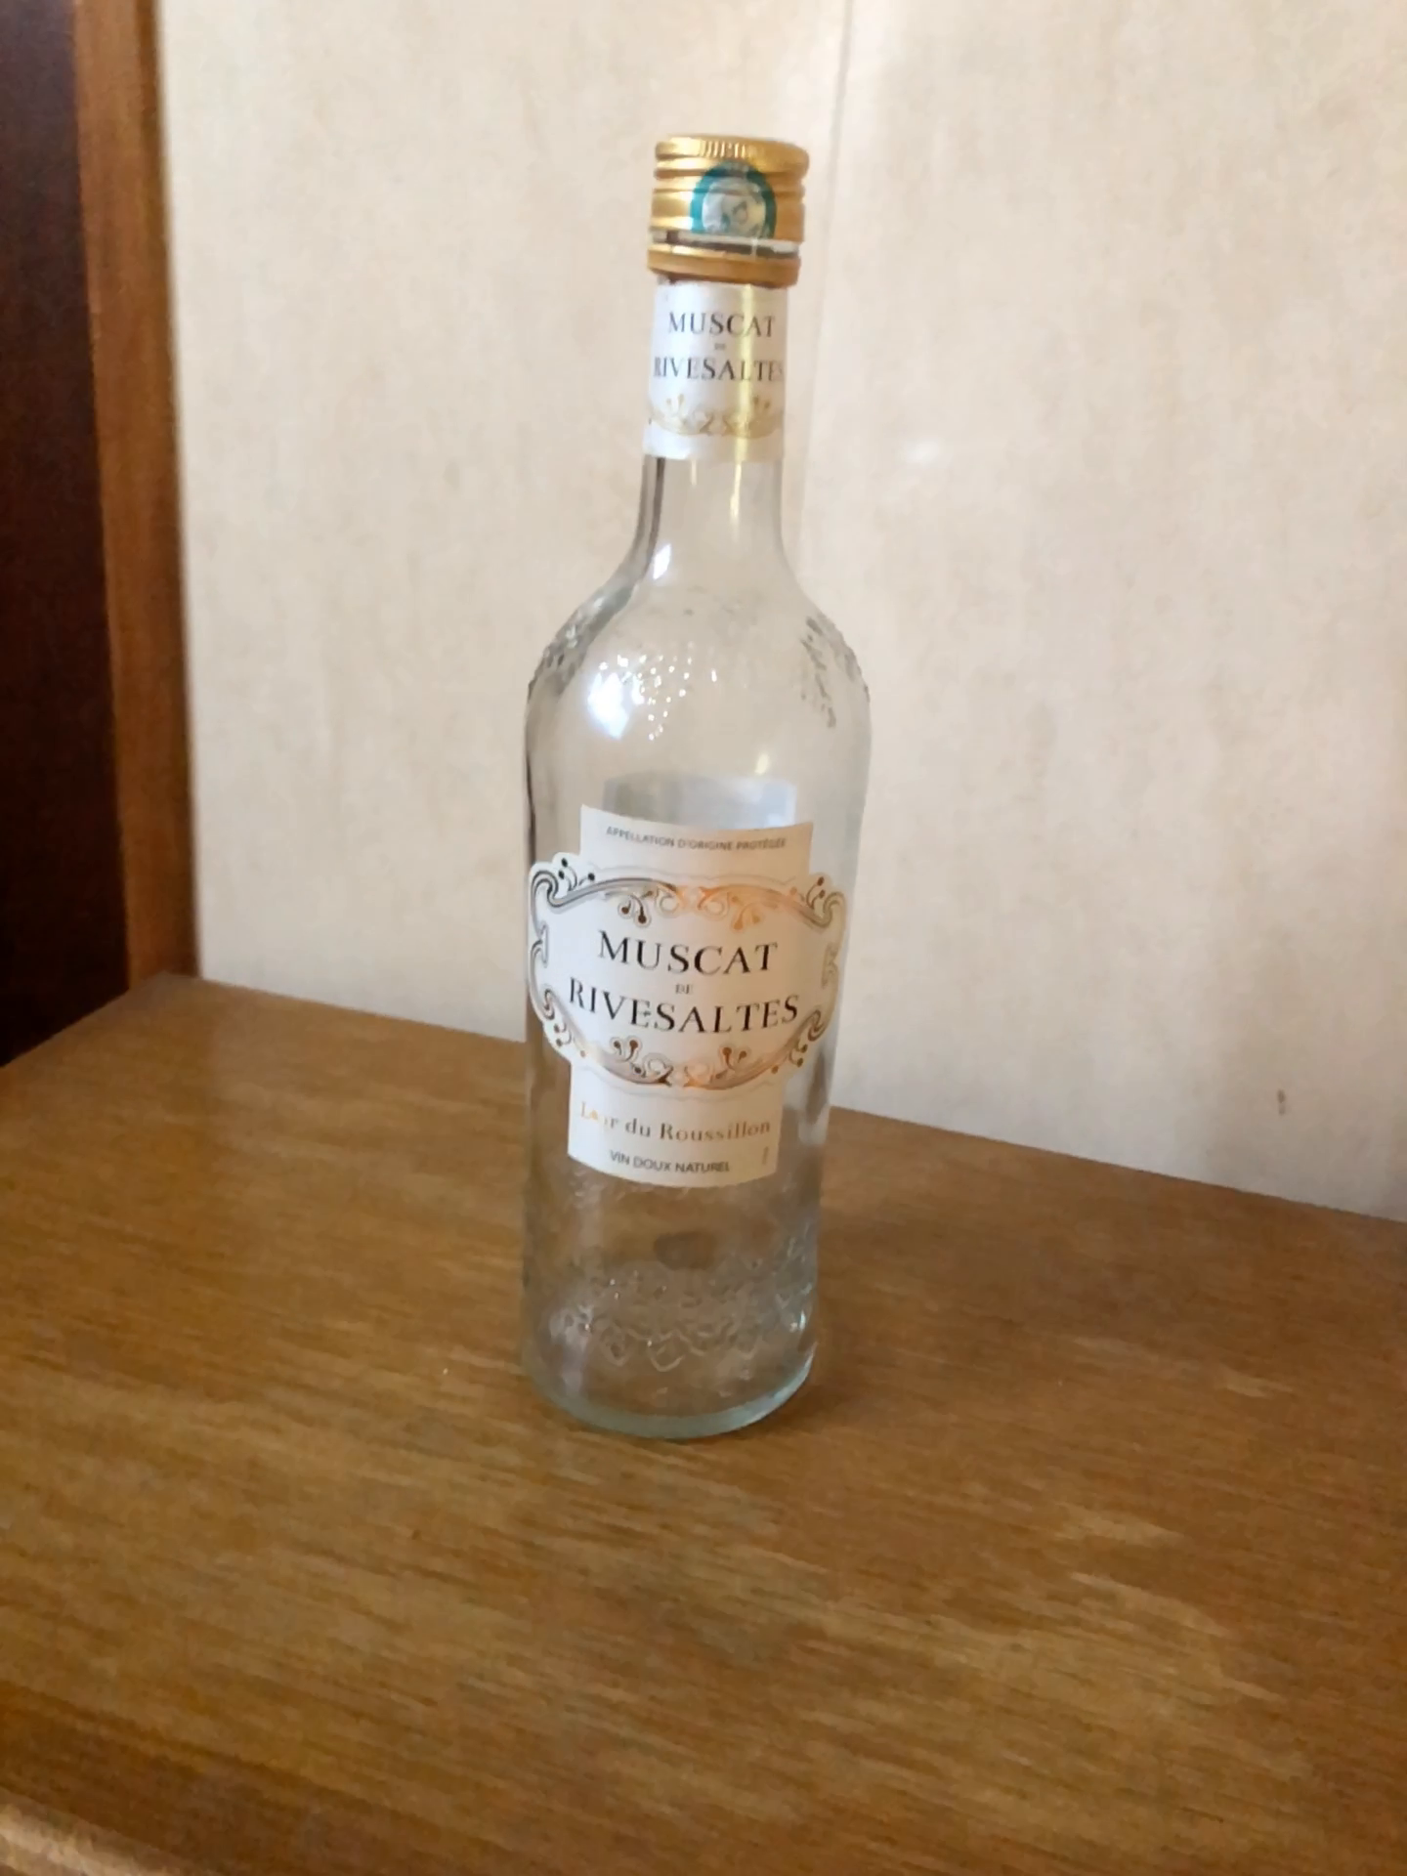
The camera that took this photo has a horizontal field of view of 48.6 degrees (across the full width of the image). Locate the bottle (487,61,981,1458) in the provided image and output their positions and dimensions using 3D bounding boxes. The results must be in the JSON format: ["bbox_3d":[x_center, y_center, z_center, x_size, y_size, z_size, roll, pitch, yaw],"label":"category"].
[{"bbox_3d":[0.003,-0.030,0.359,0.080,0.288,0.080,4,21,-2],"label":"bottle"}]
